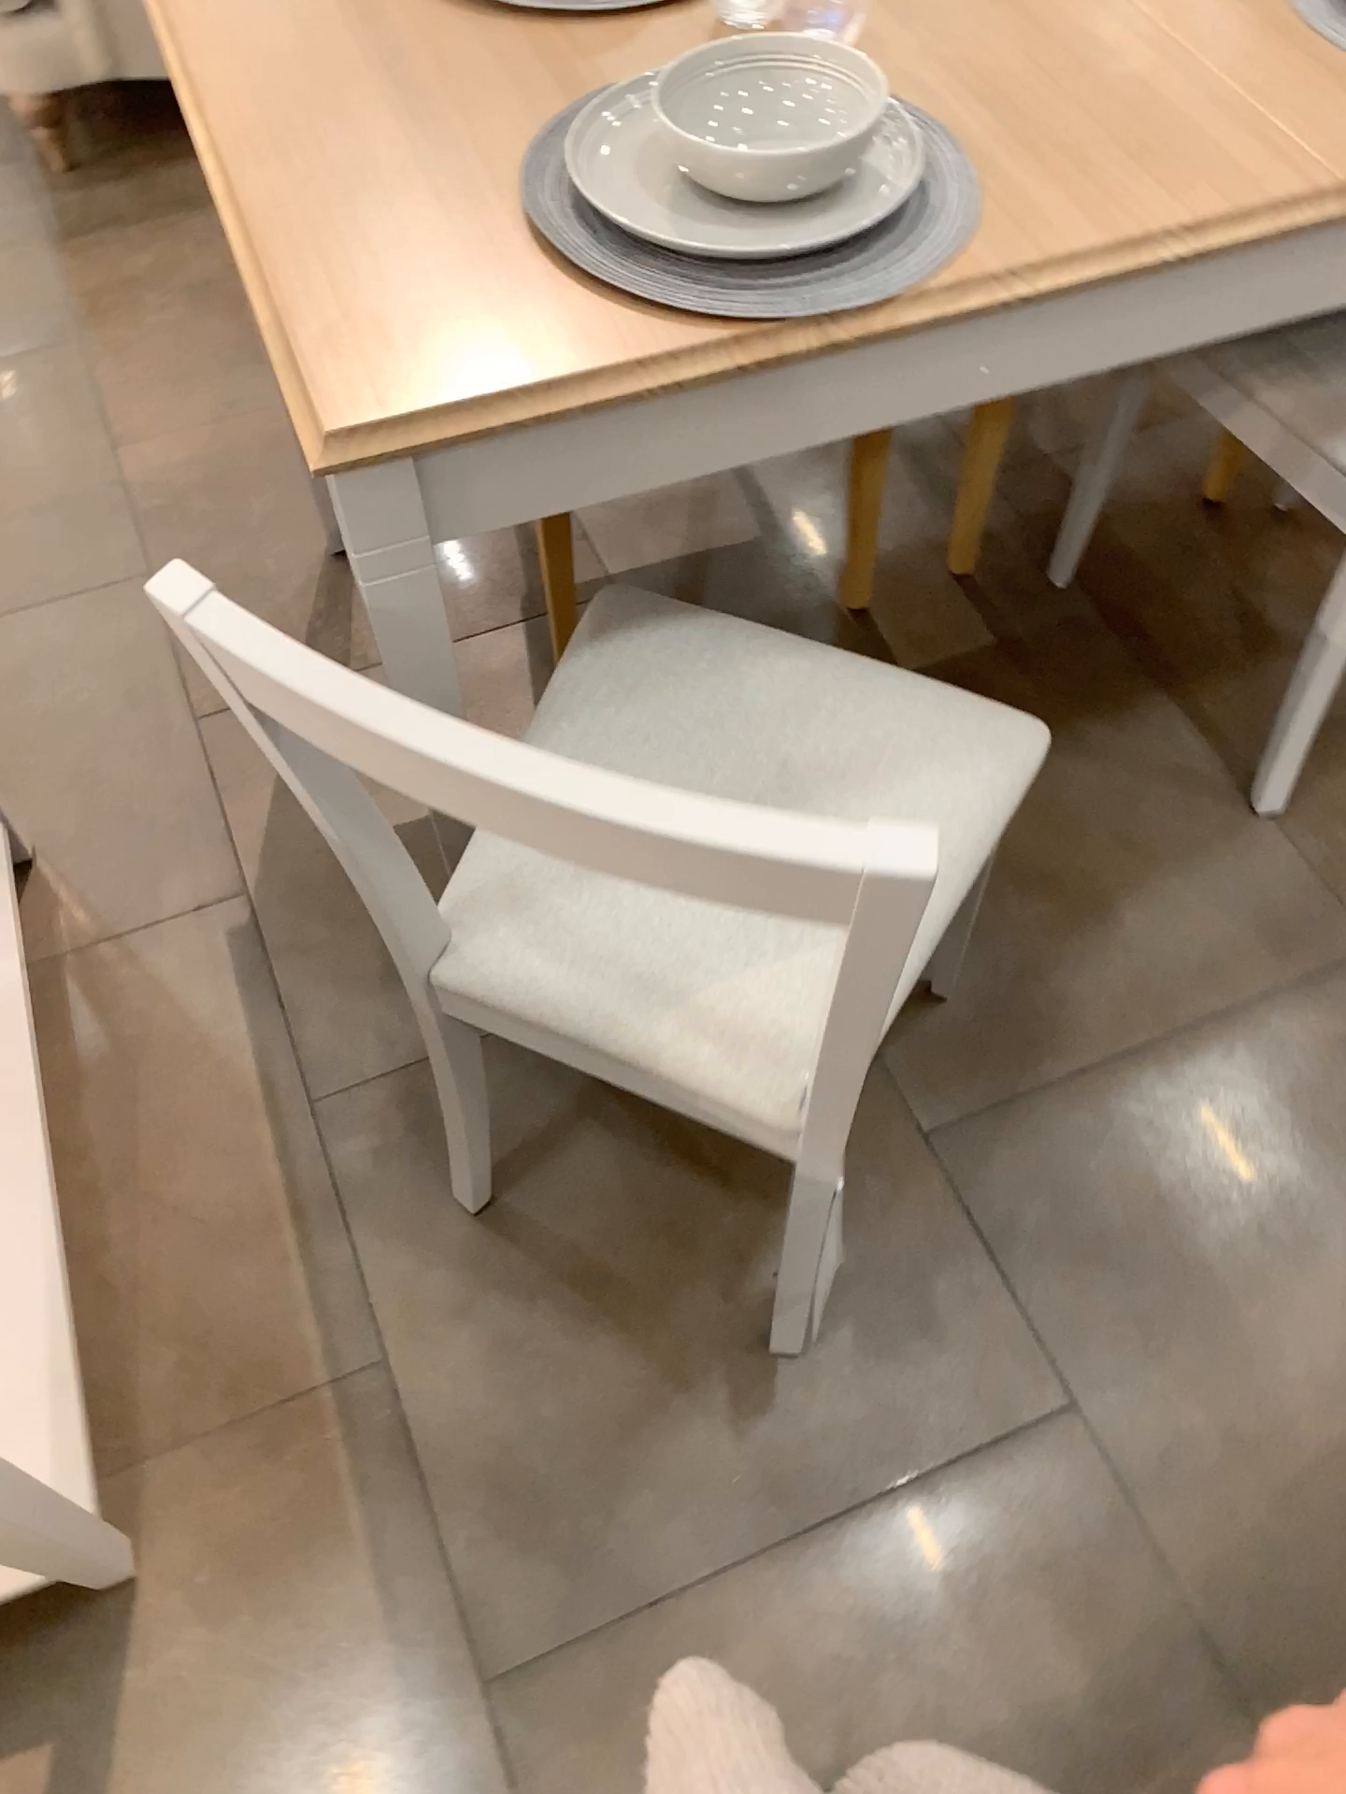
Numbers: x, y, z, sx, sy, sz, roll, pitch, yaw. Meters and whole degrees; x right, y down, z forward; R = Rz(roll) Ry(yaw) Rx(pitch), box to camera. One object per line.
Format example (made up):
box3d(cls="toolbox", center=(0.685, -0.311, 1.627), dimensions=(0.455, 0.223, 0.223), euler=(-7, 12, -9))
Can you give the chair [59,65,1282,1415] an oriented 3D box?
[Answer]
box3d(cls="chair", center=(0.034, -0.043, 1.061), dimensions=(0.462, 0.834, 0.510), euler=(22, 59, 15))
